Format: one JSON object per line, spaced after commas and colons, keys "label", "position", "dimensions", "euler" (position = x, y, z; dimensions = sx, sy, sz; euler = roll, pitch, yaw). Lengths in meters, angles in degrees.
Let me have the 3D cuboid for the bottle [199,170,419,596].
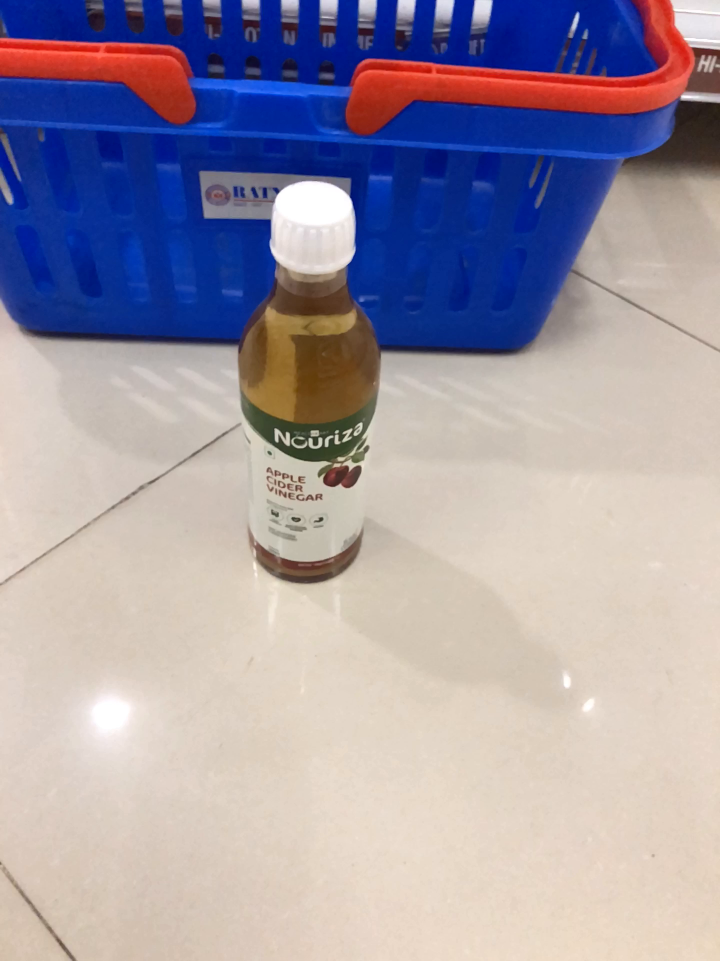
{"label": "bottle", "position": [-0.027, -0.032, 0.397], "dimensions": [0.080, 0.219, 0.070], "euler": [0, 50, -5]}
